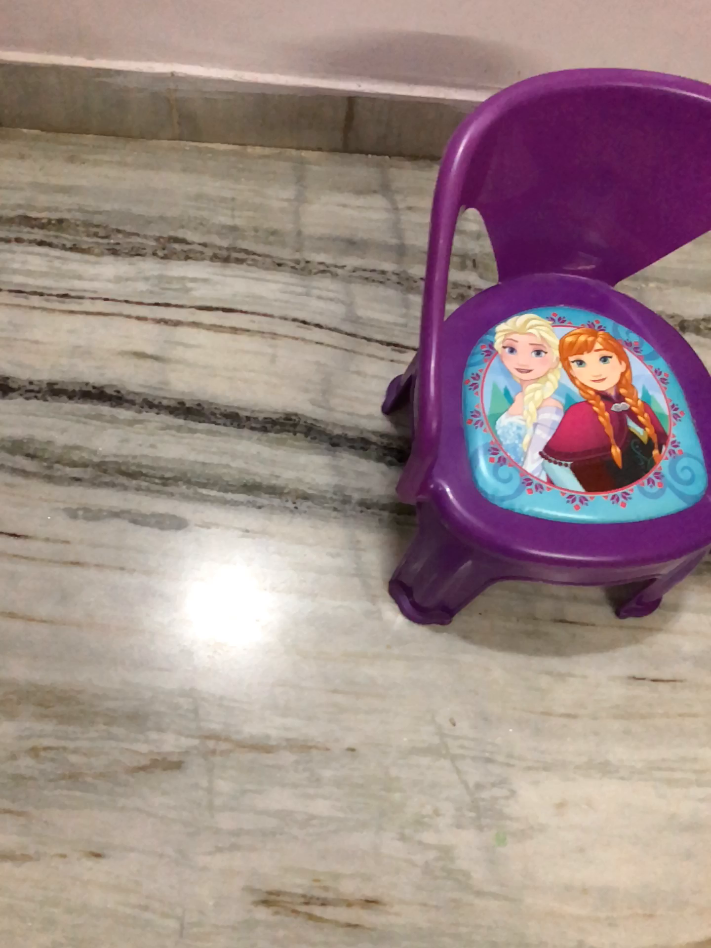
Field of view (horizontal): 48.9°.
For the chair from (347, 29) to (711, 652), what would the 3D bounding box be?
[{"bbox_3d":[0.190,-0.075,0.684,0.350,0.348,0.391,2,66,-8],"label":"chair"}]
